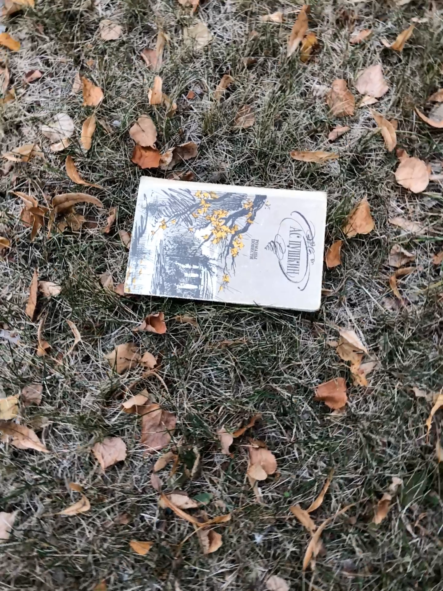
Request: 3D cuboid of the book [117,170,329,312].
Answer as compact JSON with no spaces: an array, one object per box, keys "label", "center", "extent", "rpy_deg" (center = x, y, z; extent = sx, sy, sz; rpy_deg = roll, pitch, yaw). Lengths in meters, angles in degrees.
[{"label":"book","center":[0.003,-0.060,0.526],"extent":[0.210,0.021,0.135],"rpy_deg":[5,79,4]}]
